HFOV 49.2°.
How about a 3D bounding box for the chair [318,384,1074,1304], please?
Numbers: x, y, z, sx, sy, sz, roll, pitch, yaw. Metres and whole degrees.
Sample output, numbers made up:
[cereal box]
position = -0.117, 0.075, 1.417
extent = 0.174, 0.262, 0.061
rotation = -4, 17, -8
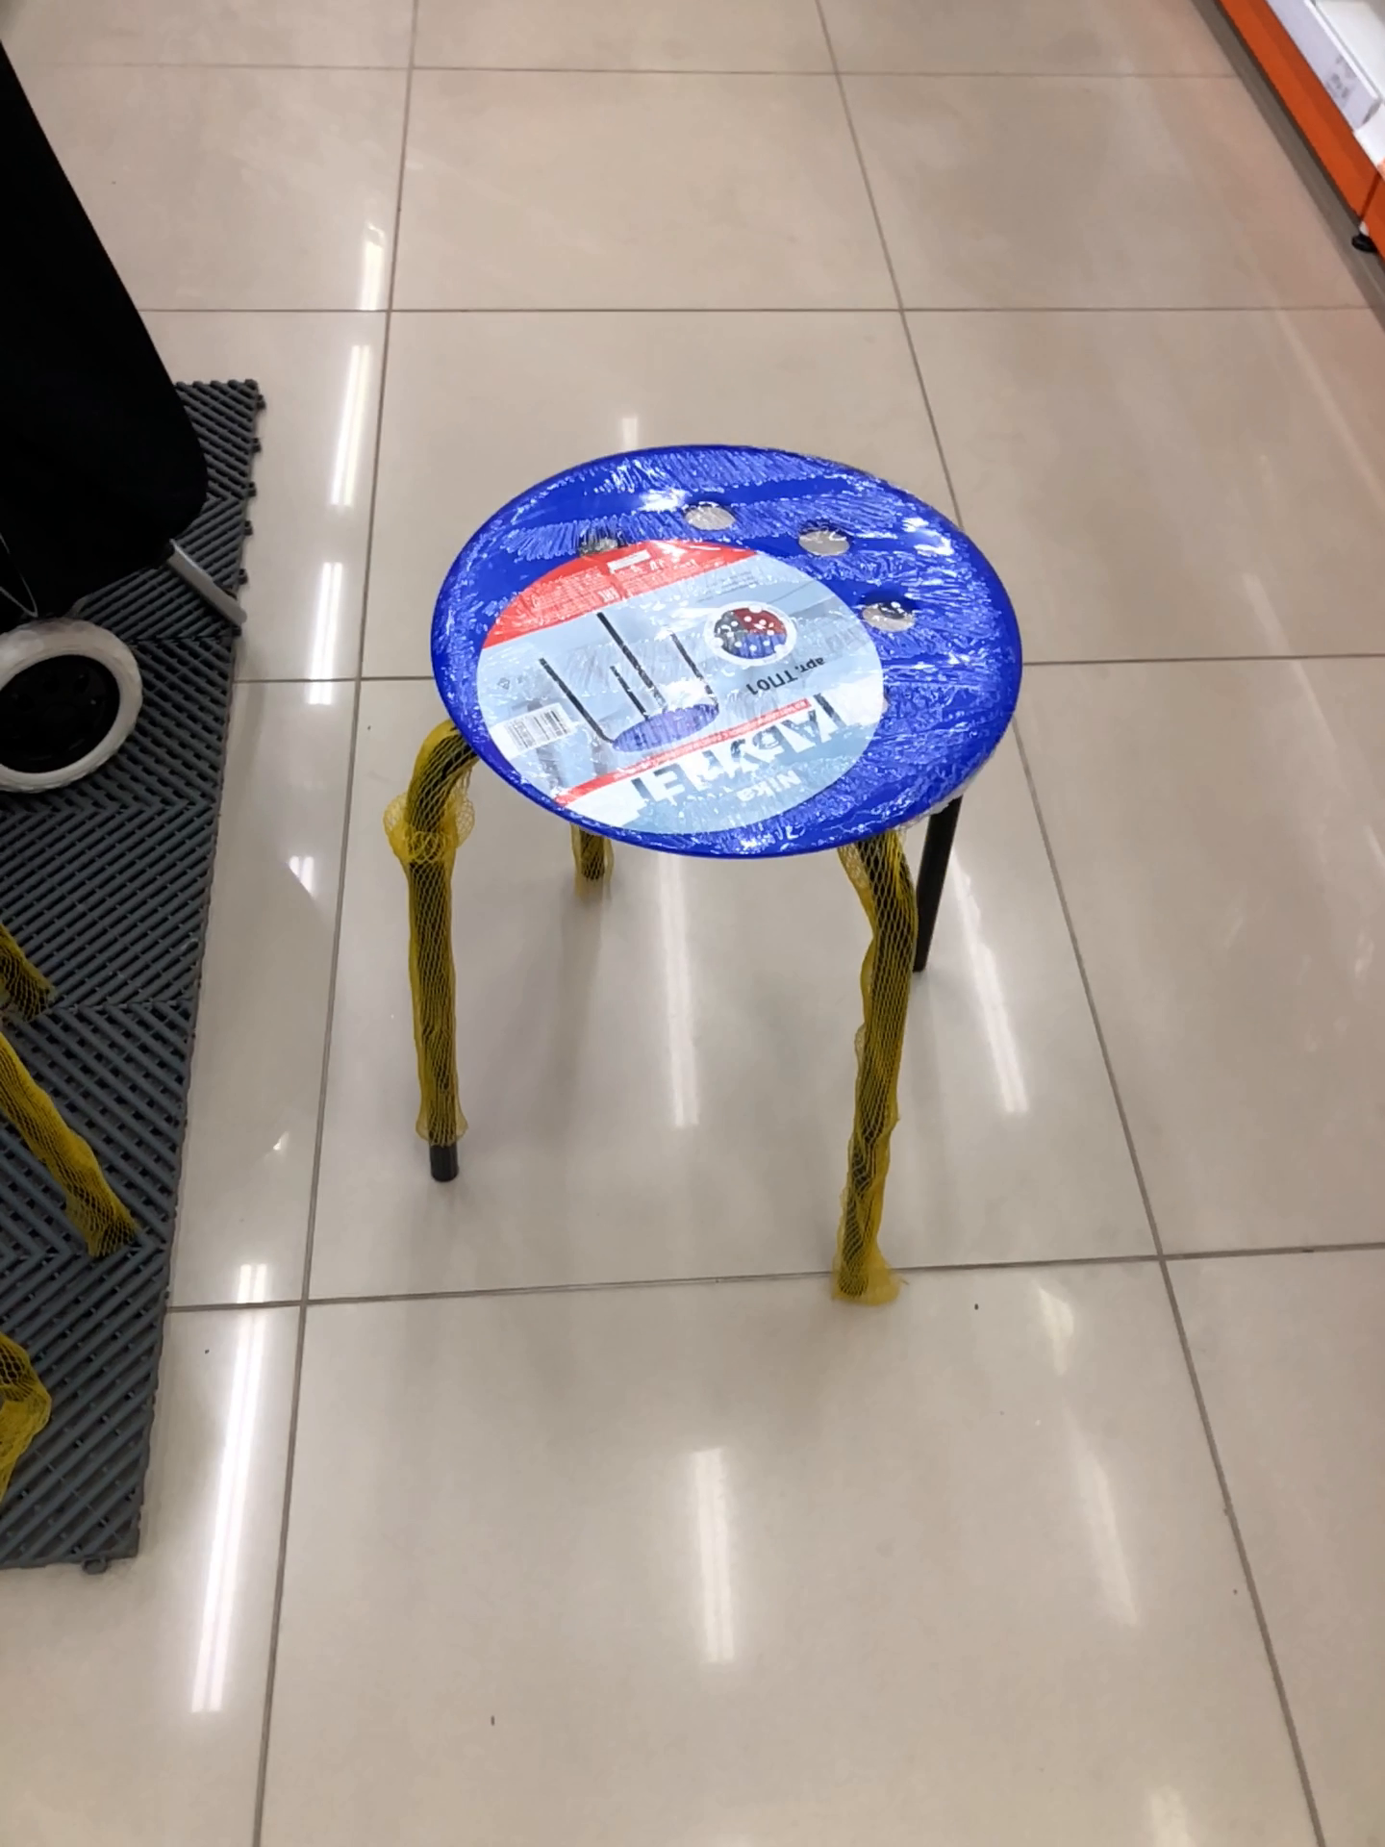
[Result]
[chair]
position = 0.012, -0.034, 0.958
extent = 0.323, 0.426, 0.322
rotation = 13, 53, 7
